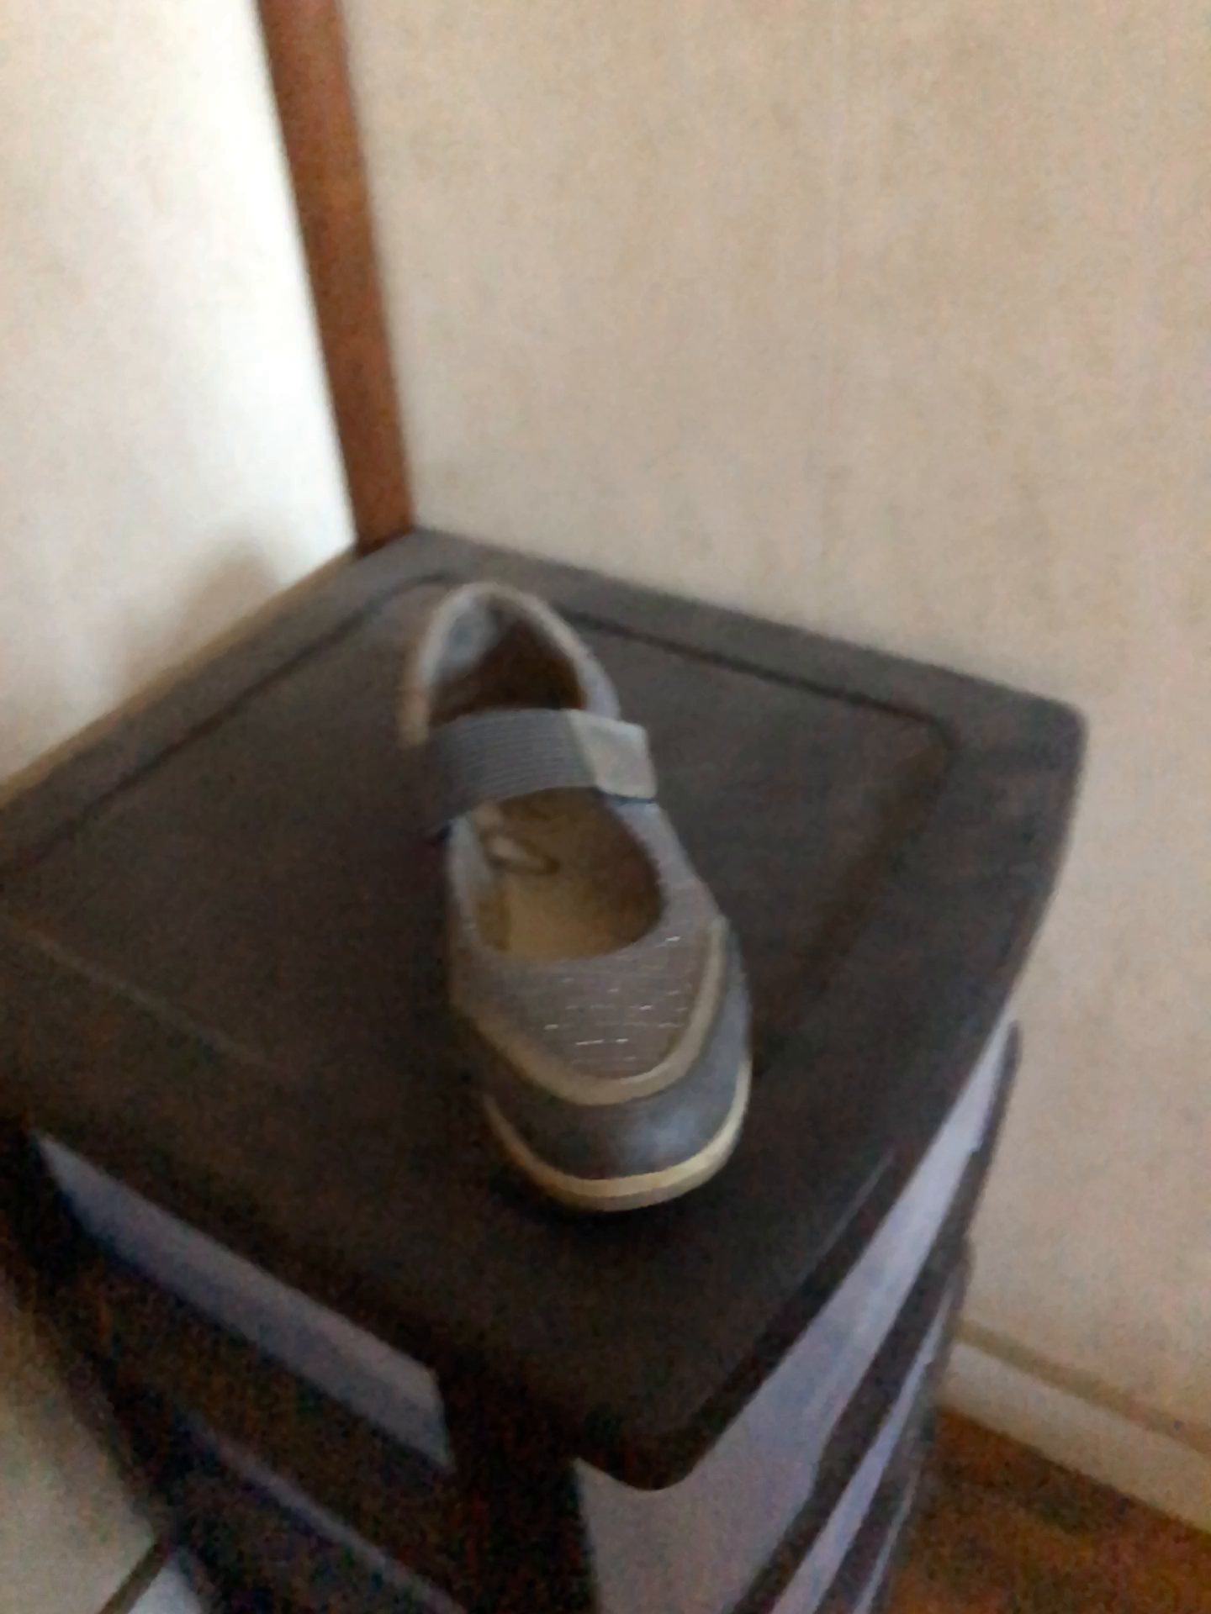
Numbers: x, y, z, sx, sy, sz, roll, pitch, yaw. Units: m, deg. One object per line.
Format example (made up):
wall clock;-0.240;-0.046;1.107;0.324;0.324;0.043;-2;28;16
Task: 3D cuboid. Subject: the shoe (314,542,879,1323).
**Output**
shoe;-0.019;0.018;0.447;0.110;0.080;0.261;-13;41;-10
